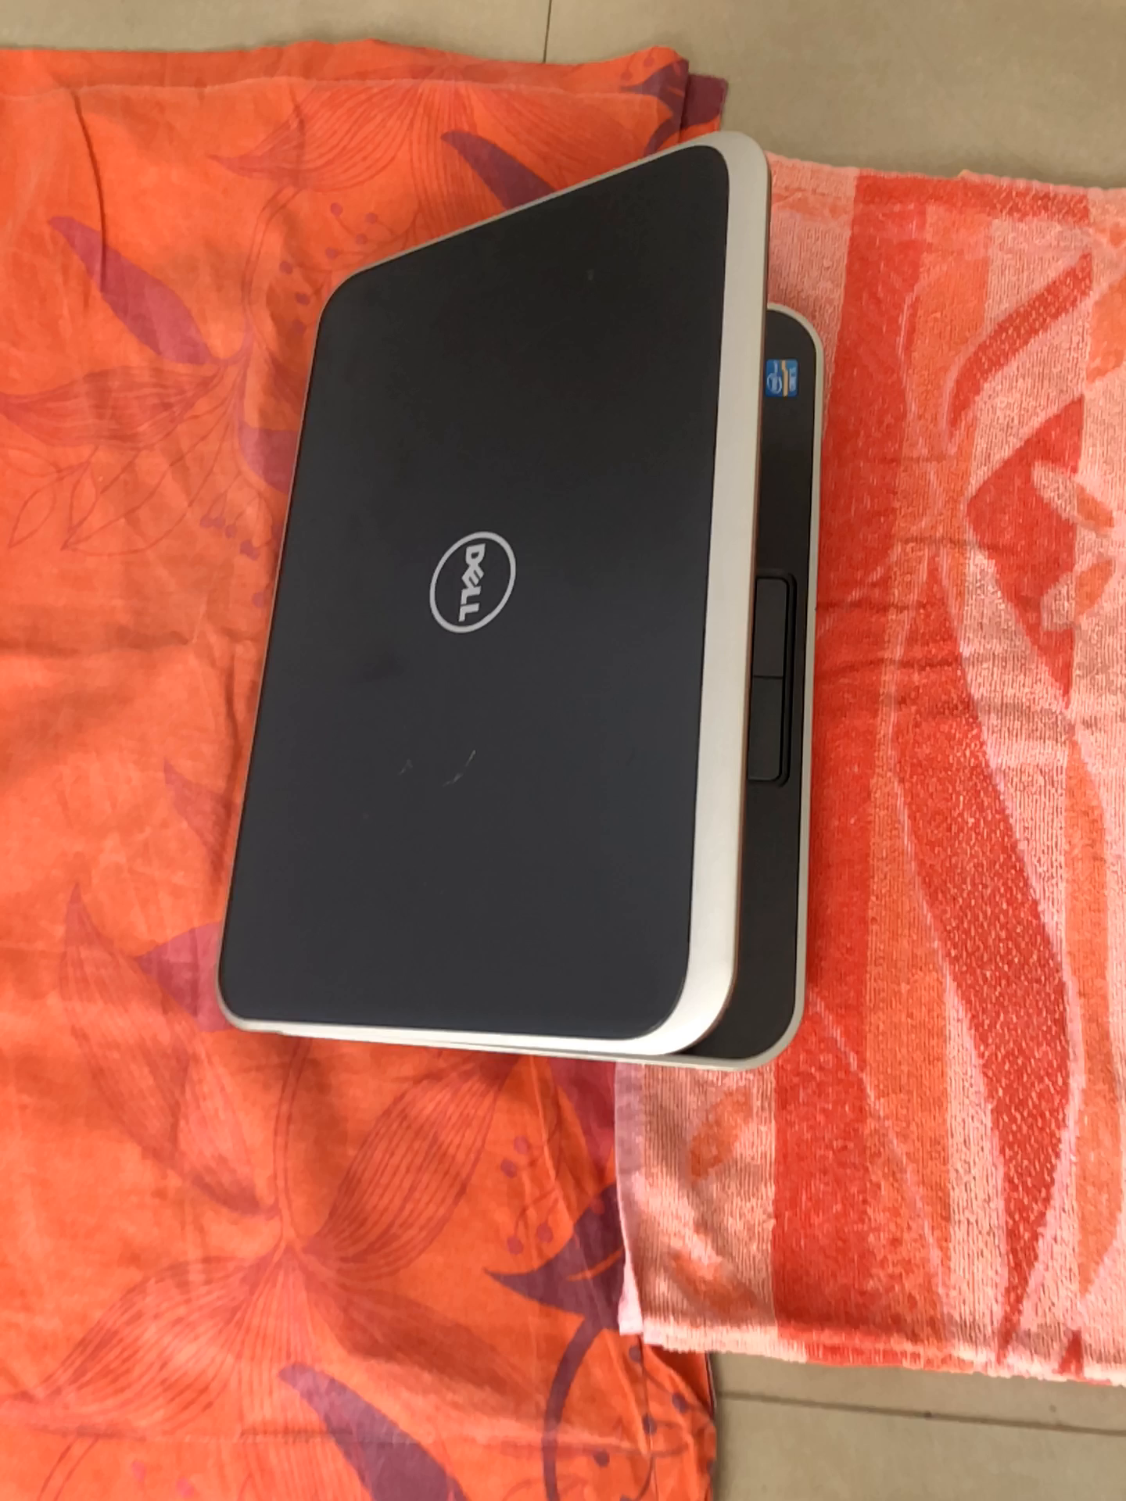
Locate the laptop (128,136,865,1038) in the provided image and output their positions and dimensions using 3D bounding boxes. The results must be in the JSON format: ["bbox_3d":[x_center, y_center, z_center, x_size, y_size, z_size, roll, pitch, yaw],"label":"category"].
[{"bbox_3d":[-0.012,-0.067,0.519,0.241,0.129,0.346,3,74,6],"label":"laptop"}]
